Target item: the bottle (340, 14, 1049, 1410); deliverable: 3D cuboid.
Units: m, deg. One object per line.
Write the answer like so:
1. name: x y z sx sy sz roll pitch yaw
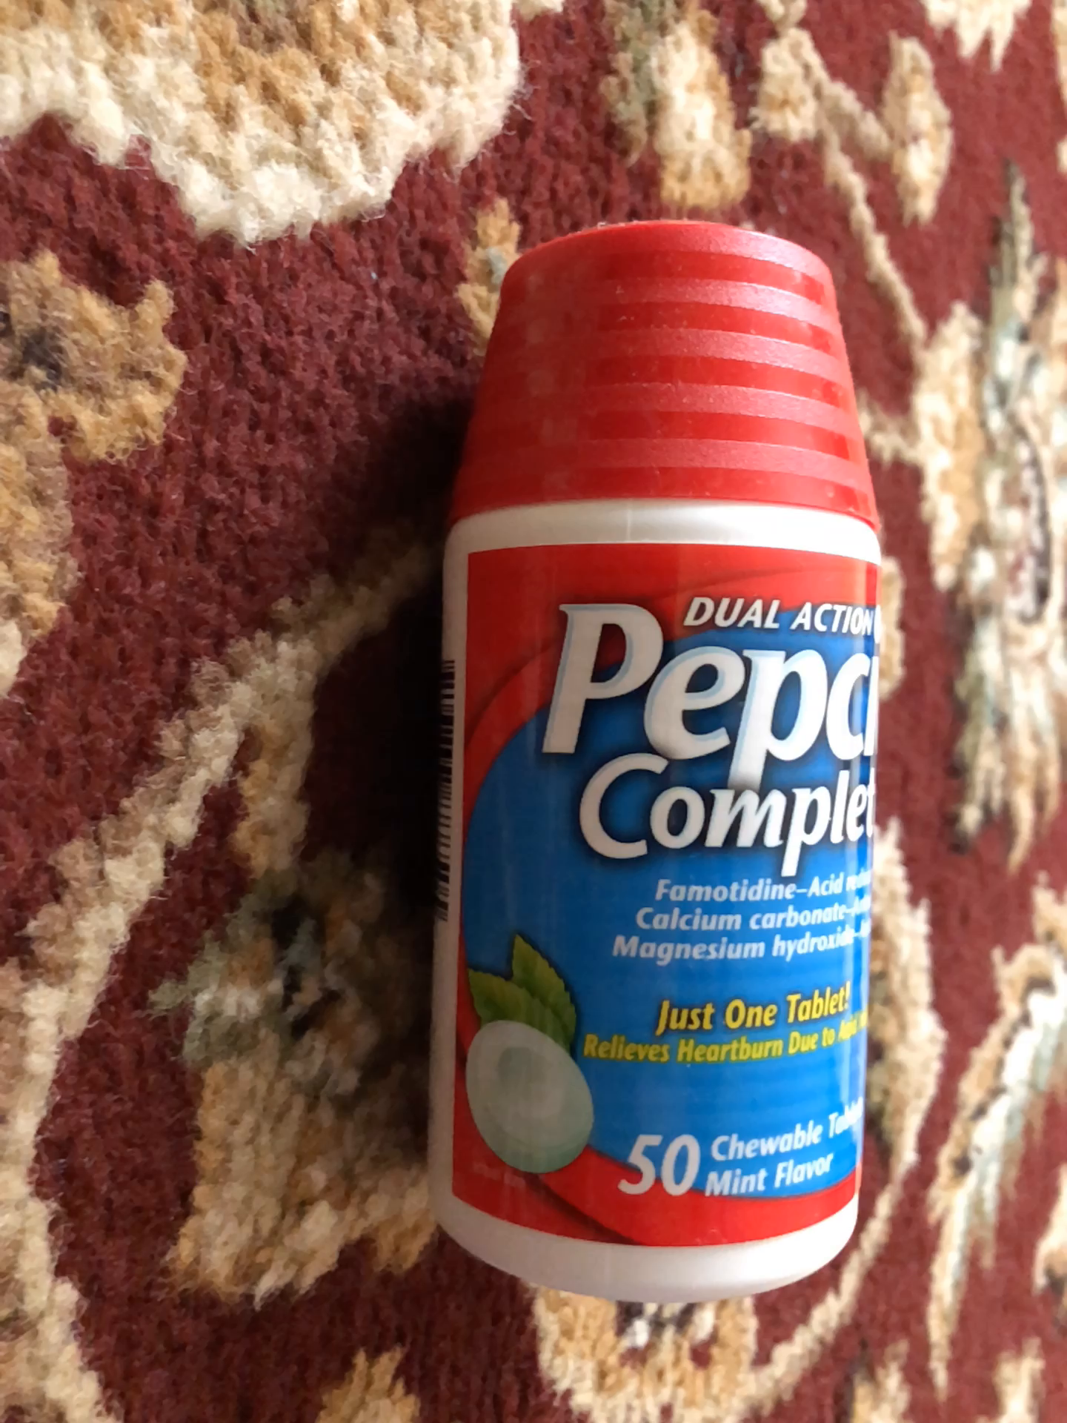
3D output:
1. bottle: 0.017 0.001 0.154 0.060 0.060 0.130 2 90 -28
